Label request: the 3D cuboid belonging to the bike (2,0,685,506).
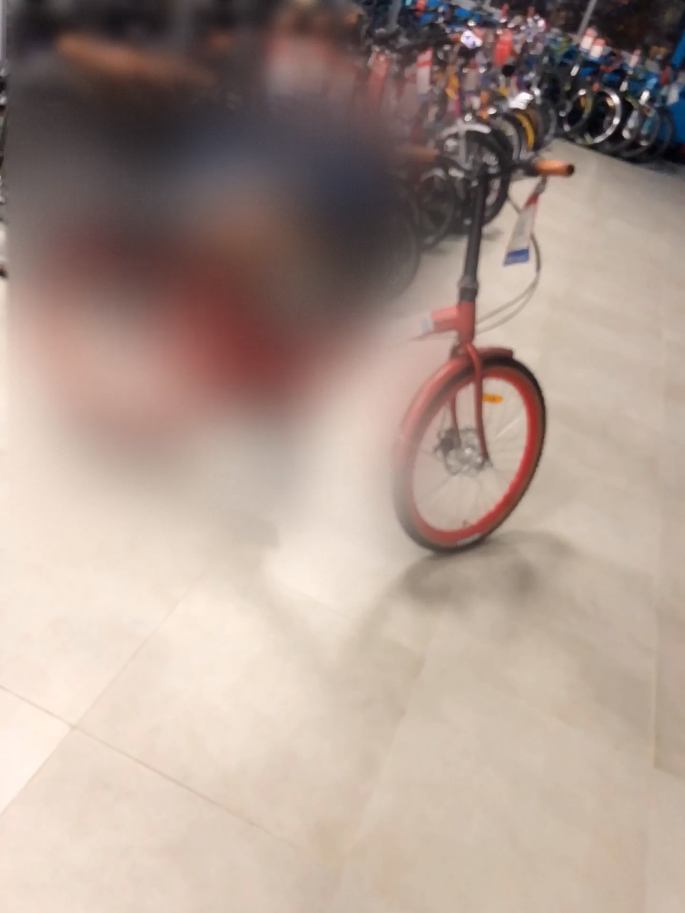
[{"bbox_3d":[-0.072,-0.546,2.171,1.493,1.111,0.519,11,33,-5],"label":"bike"}]
